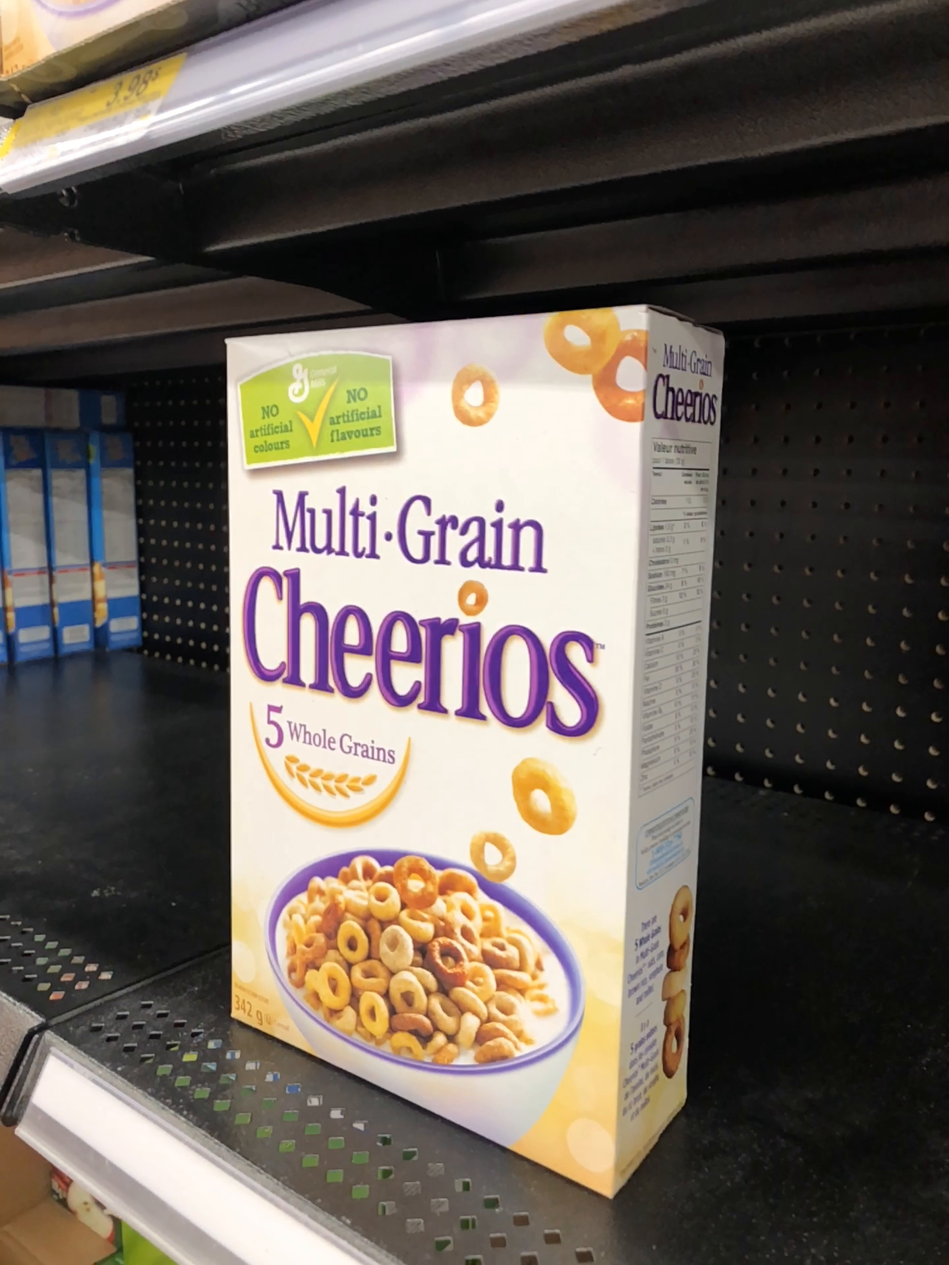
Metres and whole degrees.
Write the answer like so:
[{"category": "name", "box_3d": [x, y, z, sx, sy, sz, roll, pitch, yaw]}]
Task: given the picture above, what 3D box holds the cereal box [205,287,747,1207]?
[{"category": "cereal box", "box_3d": [-0.010, 0.029, 0.409, 0.200, 0.289, 0.070, 7, 10, 37]}]
